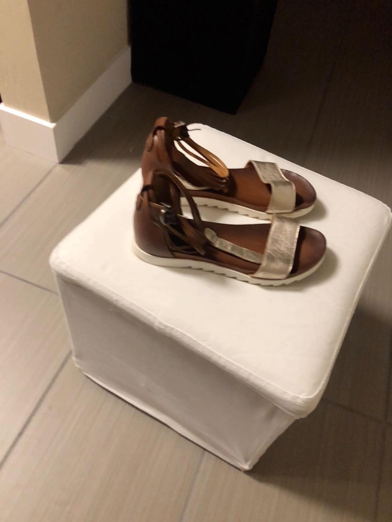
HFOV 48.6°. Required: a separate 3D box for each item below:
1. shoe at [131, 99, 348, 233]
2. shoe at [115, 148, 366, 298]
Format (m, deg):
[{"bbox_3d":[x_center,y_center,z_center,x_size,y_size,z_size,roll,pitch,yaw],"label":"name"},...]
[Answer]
[{"bbox_3d":[0.052,-0.126,0.582,0.260,0.090,0.110,8,52,-3],"label":"shoe"},{"bbox_3d":[0.046,-0.043,0.511,0.260,0.090,0.110,8,52,-3],"label":"shoe"}]
